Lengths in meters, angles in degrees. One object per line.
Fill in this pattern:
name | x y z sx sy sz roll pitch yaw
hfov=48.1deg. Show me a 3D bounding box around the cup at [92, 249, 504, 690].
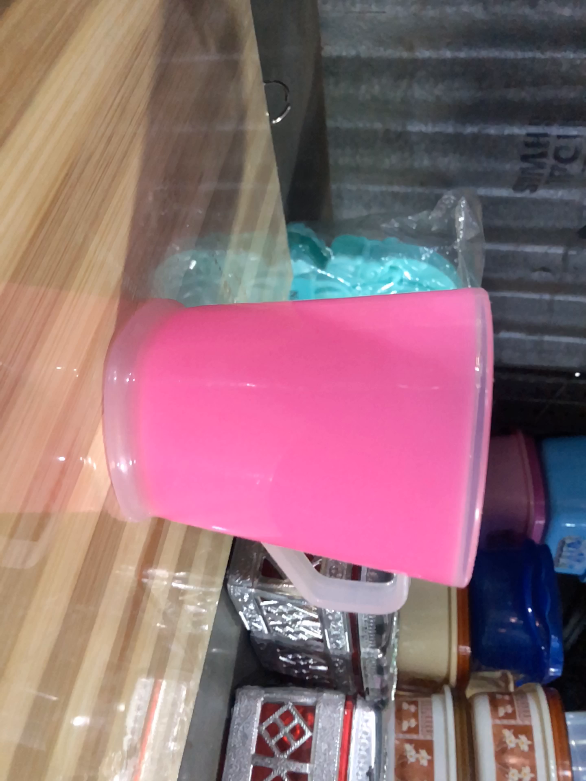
cup | 0.007 0.025 0.218 0.070 0.100 0.120 -72 163 -56
